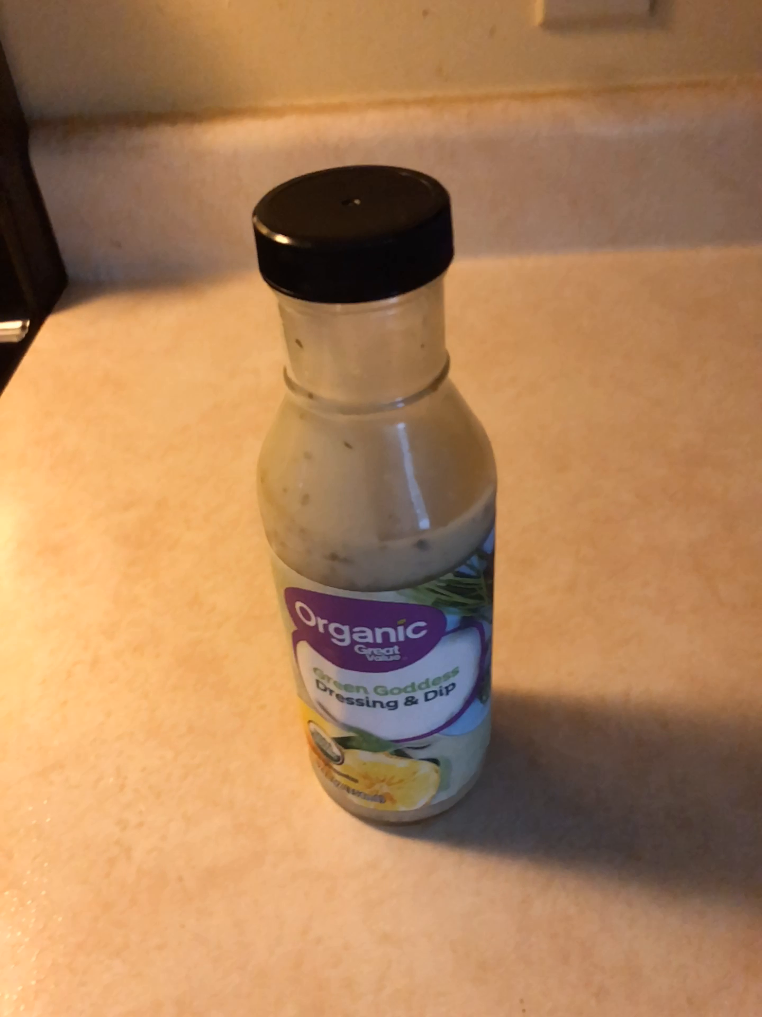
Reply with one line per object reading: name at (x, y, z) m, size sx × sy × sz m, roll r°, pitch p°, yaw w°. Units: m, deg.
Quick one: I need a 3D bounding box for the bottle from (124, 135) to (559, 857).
bottle at (0.002, 0.009, 0.232) m, size 0.070 × 0.190 × 0.070 m, roll -3°, pitch 41°, yaw 2°
